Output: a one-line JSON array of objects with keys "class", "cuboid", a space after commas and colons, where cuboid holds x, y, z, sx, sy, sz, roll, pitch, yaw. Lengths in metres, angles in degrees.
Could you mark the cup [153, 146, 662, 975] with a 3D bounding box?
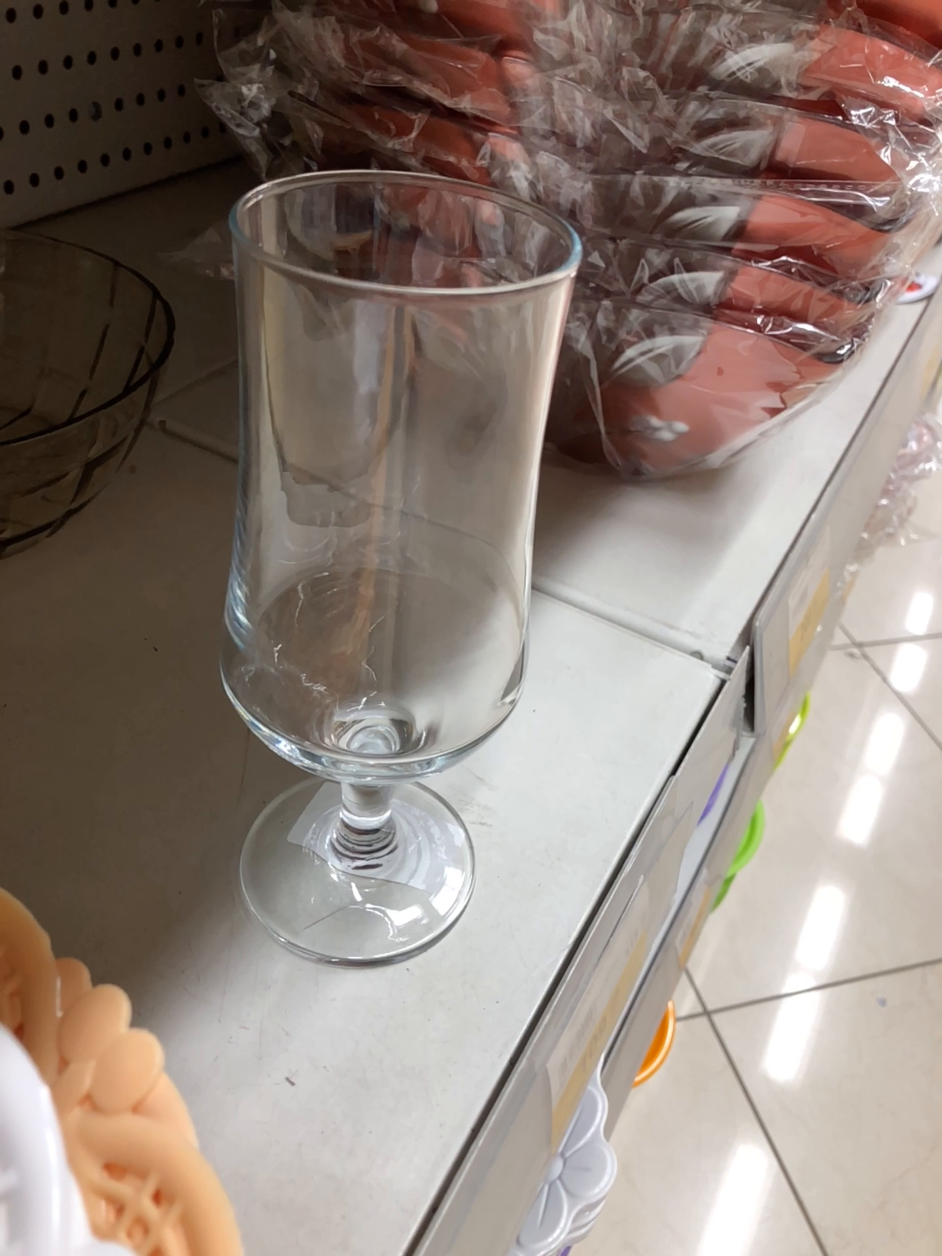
[{"class": "cup", "cuboid": [-0.023, -0.005, 0.246, 0.079, 0.177, 0.079, 5, 39, -4]}]
